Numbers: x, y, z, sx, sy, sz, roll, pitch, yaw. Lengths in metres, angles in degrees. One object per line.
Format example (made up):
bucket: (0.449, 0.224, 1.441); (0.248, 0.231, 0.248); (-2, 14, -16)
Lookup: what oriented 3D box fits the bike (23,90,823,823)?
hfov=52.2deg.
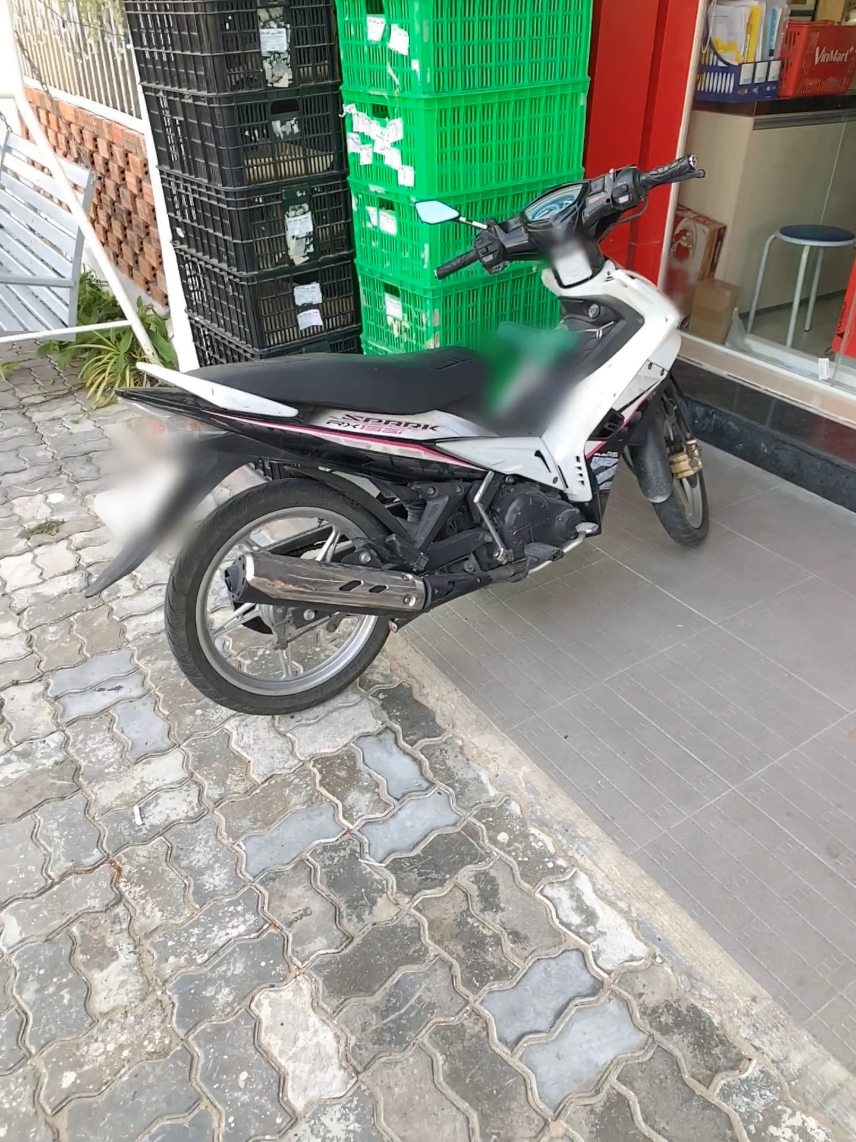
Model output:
bike: (0.099, -0.456, 2.267); (1.817, 1.186, 0.669); (-26, 41, -31)
